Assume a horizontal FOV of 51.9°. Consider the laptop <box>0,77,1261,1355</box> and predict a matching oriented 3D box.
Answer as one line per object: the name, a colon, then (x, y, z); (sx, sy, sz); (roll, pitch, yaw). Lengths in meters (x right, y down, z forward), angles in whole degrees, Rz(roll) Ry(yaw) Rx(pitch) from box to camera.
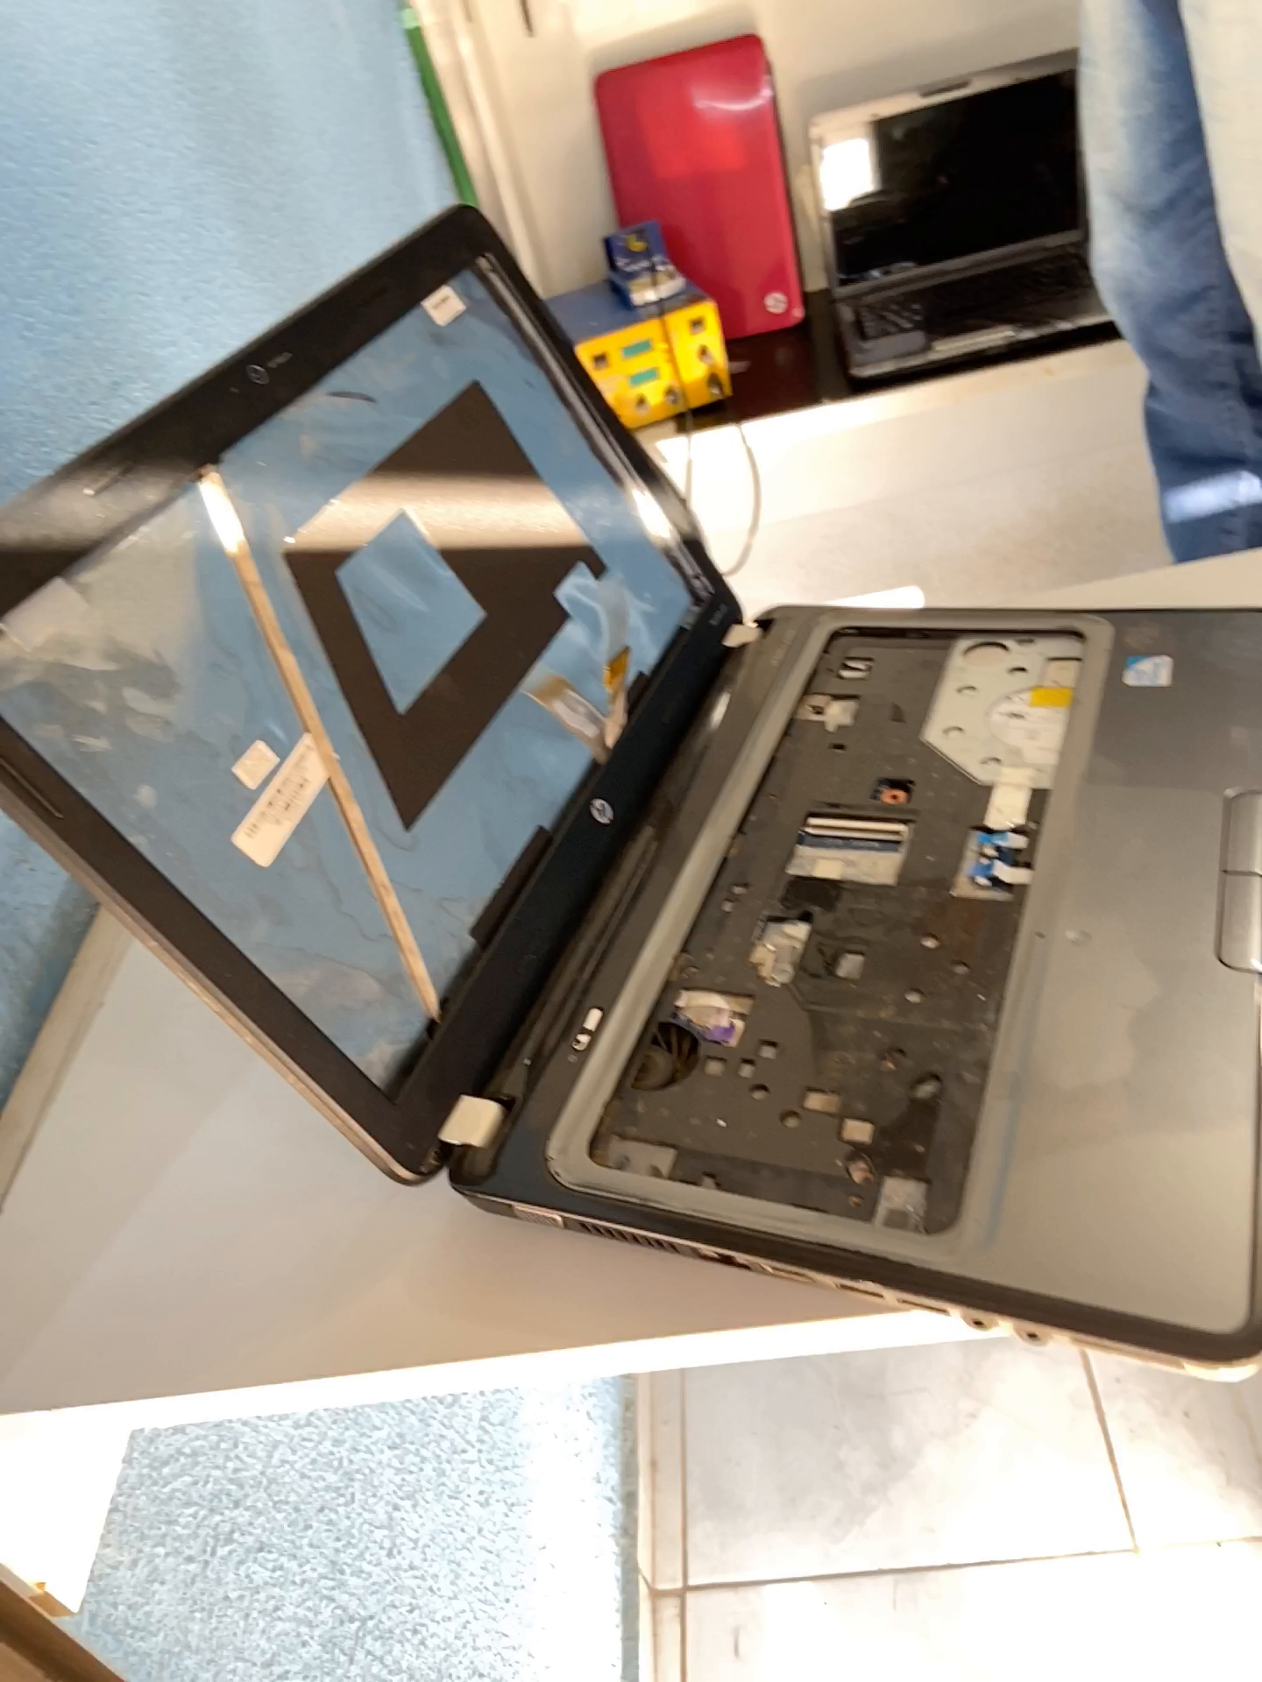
laptop: (0.033, -0.076, 0.428); (0.323, 0.194, 0.337); (4, 42, 25)
